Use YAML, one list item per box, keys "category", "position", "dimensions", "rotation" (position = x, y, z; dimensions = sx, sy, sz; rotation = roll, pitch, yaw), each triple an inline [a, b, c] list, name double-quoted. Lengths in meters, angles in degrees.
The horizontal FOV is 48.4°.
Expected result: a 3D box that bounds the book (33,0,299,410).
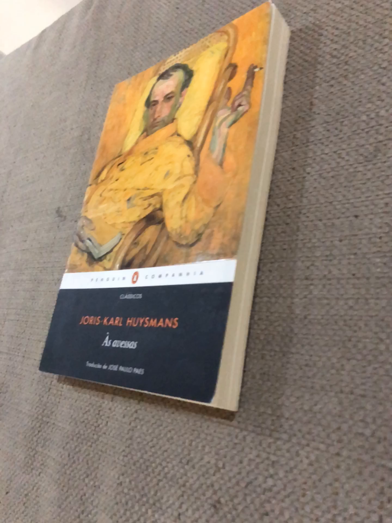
- category: "book"
  position: [-0.019, -0.034, 0.234]
  dimensions: [0.131, 0.023, 0.195]
  rotation: [-5, 68, 42]
